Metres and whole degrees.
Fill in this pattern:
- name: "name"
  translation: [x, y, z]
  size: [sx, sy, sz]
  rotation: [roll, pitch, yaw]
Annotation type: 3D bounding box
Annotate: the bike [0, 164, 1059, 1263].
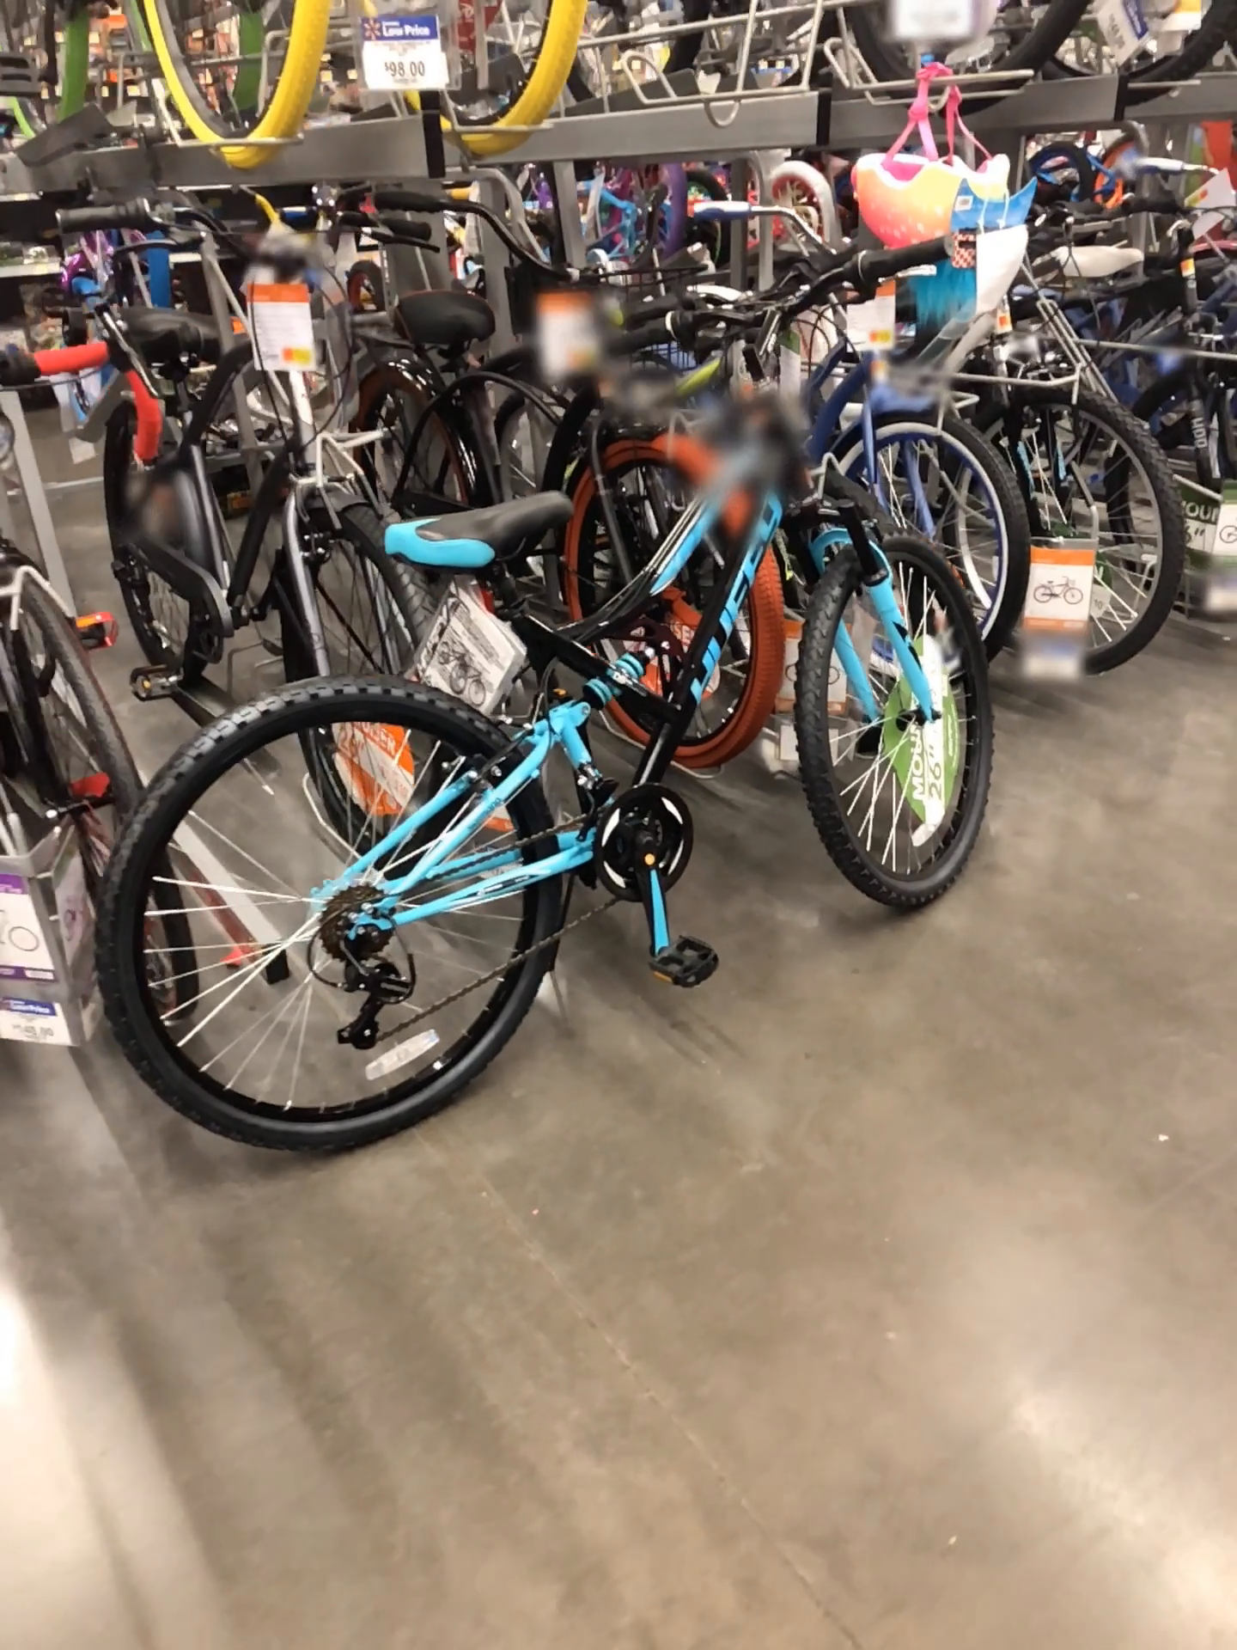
- name: "bike"
  translation: [-0.070, -0.343, 2.160]
  size: [1.708, 1.121, 0.545]
  rotation: [-24, 36, -32]
